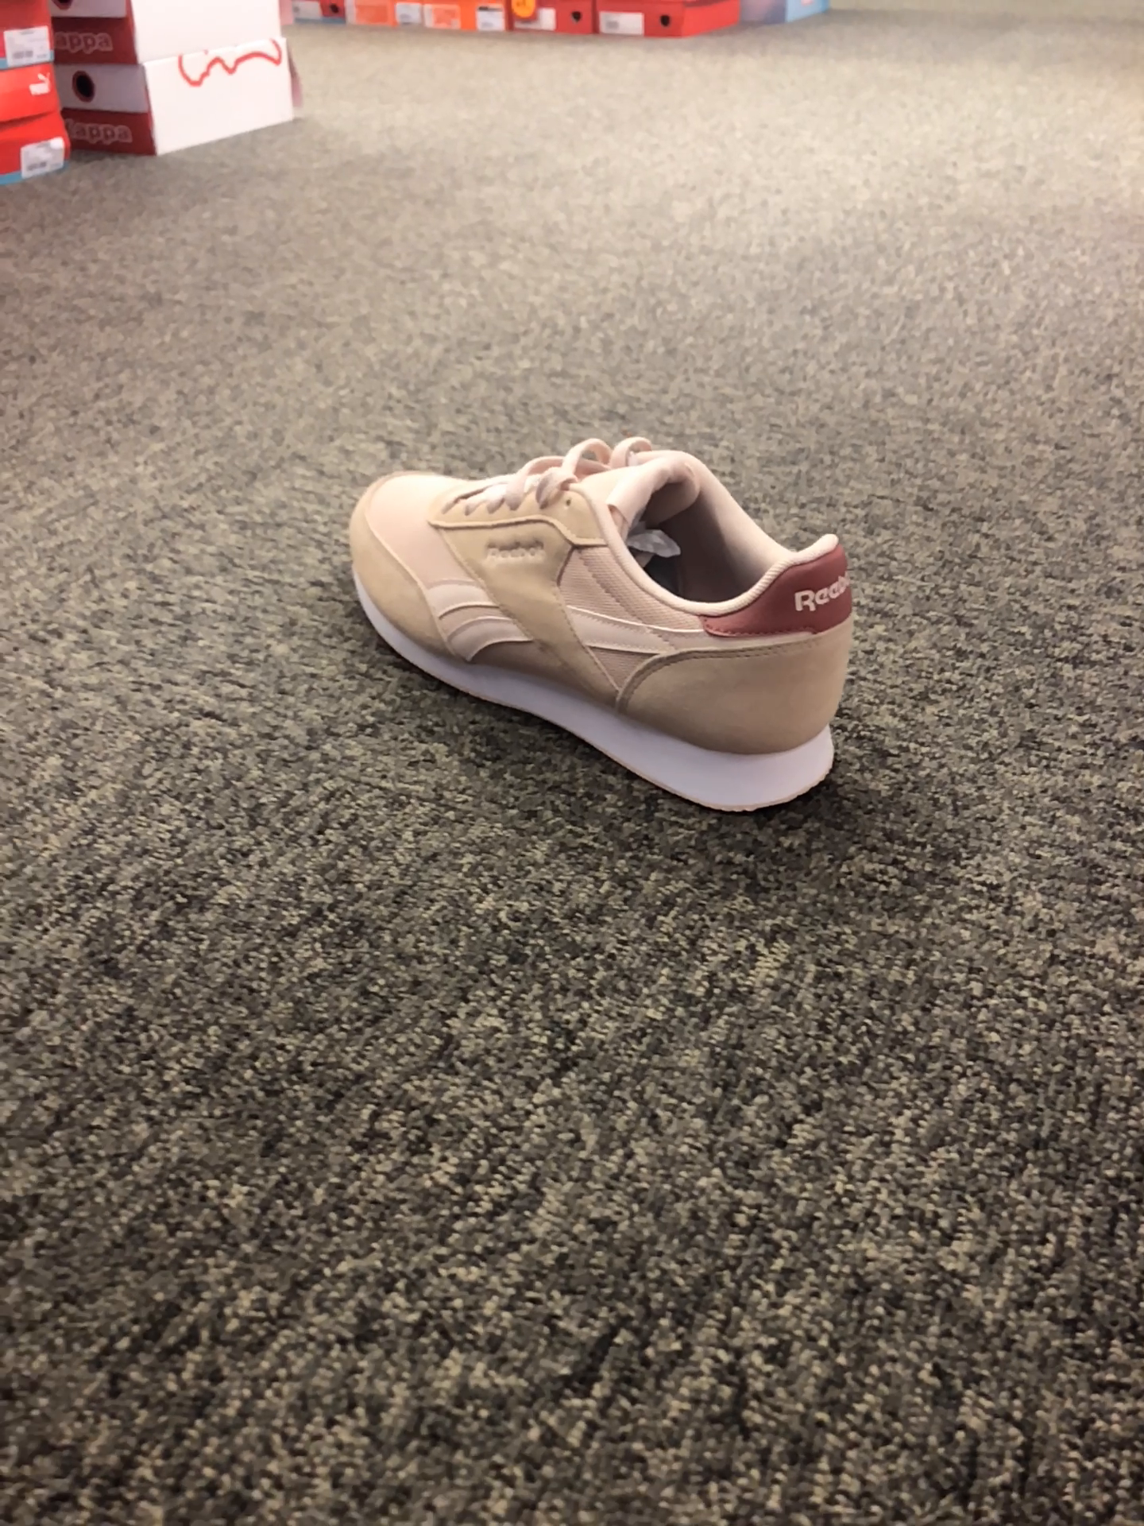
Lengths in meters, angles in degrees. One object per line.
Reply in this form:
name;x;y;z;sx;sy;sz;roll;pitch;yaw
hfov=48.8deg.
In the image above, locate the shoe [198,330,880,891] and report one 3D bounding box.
shoe;-0.026;-0.078;0.501;0.100;0.109;0.270;-28;43;-34
